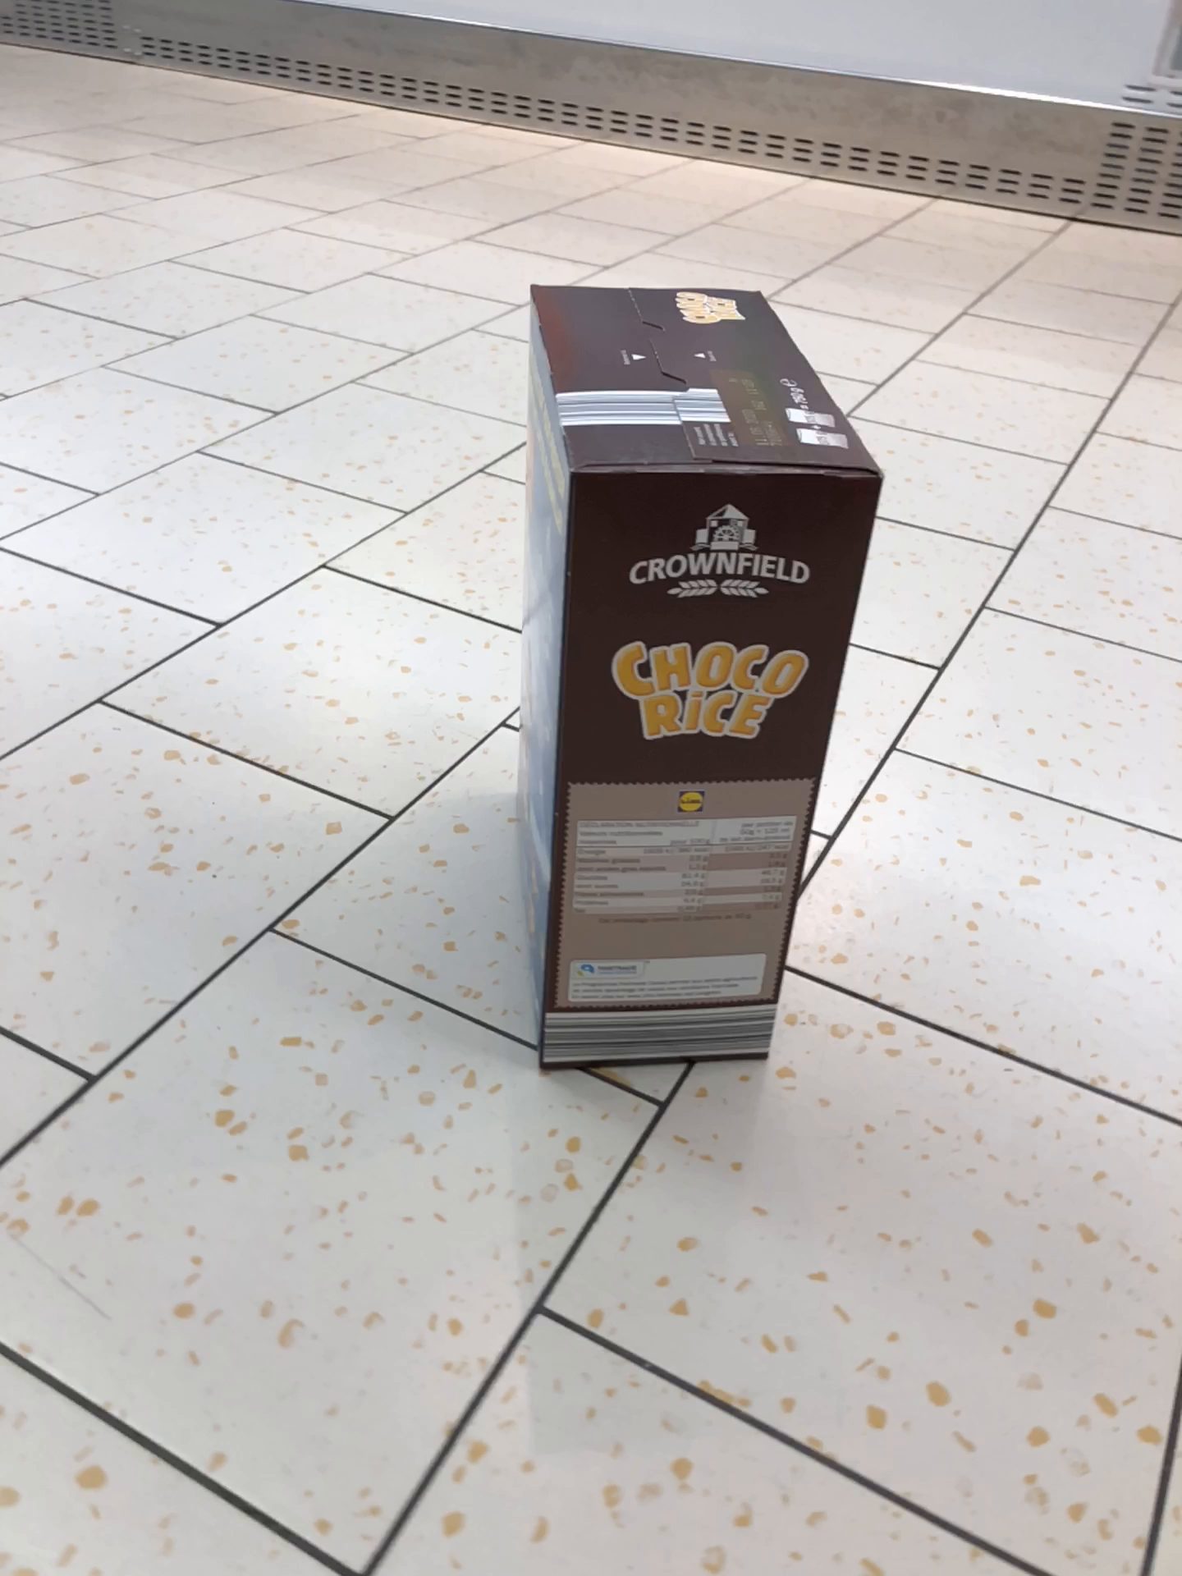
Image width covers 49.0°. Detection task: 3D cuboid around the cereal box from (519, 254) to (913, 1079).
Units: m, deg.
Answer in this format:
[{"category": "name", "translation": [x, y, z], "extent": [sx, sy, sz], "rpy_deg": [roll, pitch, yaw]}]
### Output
[{"category": "cereal box", "translation": [0.028, -0.051, 0.533], "extent": [0.100, 0.268, 0.201], "rpy_deg": [0, 35, -6]}]
